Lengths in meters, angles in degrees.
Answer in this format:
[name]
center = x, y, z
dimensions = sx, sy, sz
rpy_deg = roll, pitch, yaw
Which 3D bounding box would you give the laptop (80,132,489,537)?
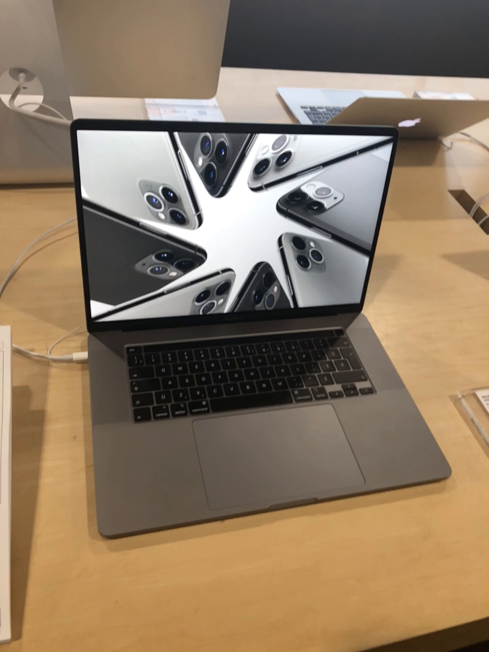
[laptop]
center = 0.028, -0.017, 0.530
dimensions = 0.344, 0.227, 0.292
rpy_deg = -5, 45, -15
